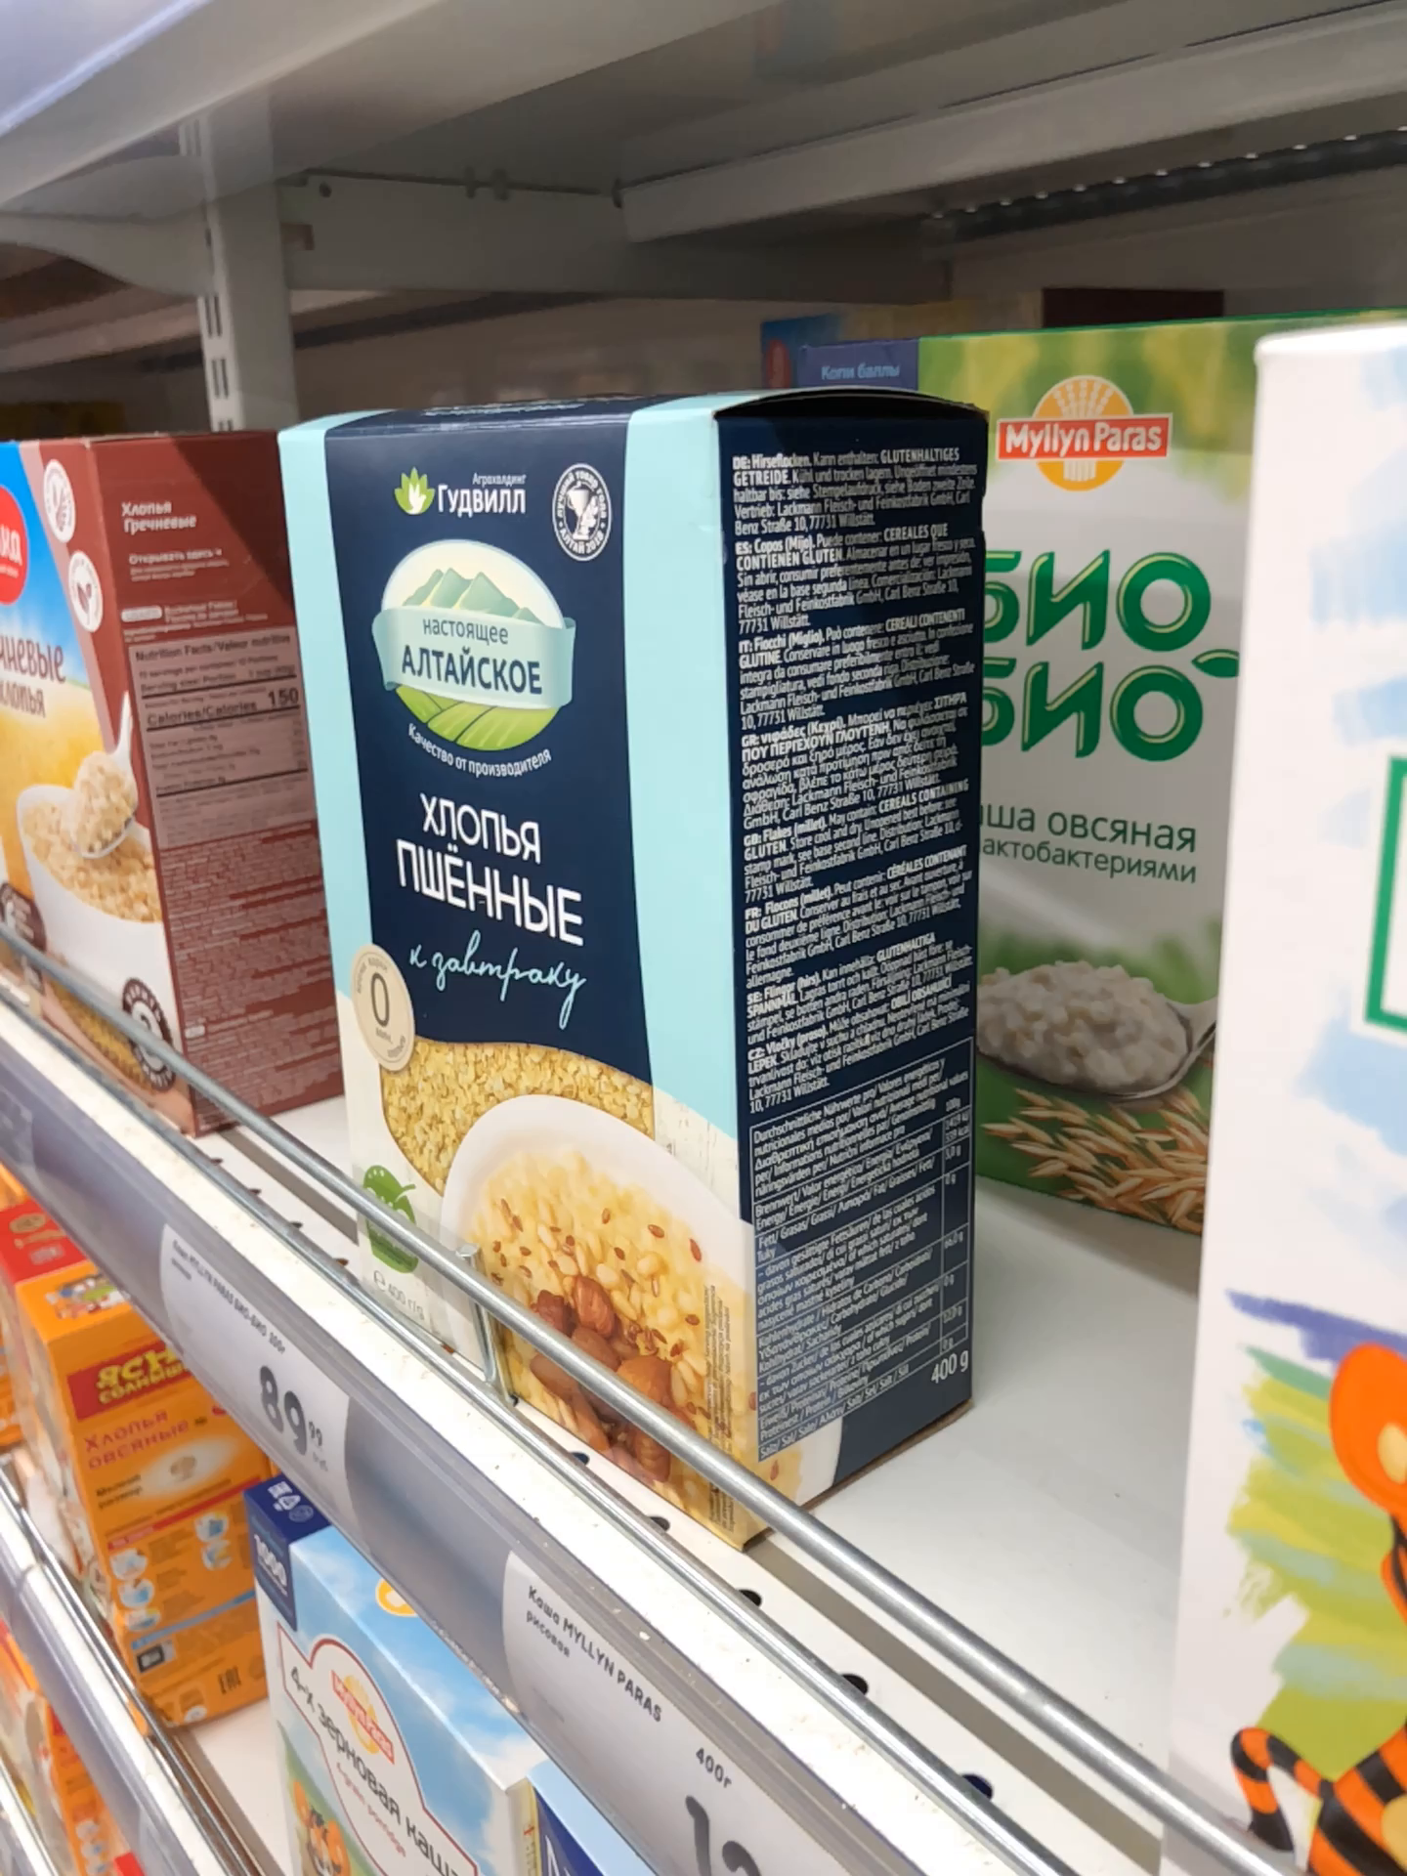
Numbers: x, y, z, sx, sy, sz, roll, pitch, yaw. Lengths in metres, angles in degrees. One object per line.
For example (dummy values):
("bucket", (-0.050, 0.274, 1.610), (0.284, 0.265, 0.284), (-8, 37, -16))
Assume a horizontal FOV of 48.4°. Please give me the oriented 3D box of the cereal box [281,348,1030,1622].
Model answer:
("cereal box", (-0.011, -0.001, 0.298), (0.060, 0.199, 0.130), (-16, 22, -39))
